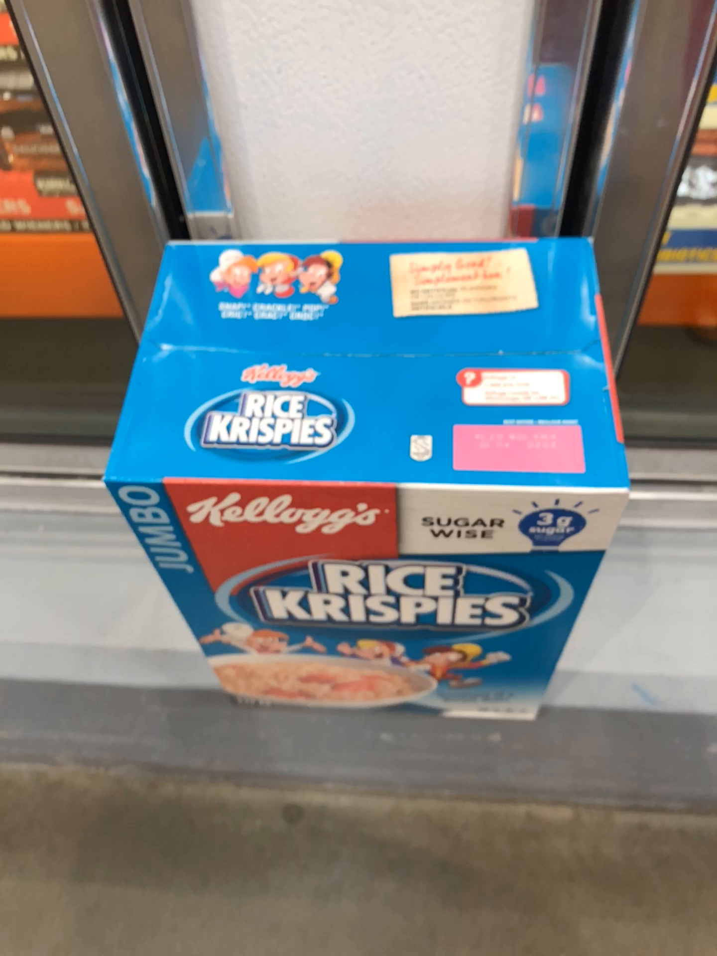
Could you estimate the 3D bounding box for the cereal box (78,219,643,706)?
[{"bbox_3d":[0.011,0.016,0.519,0.240,0.319,0.160,1,58,4],"label":"cereal box"}]
